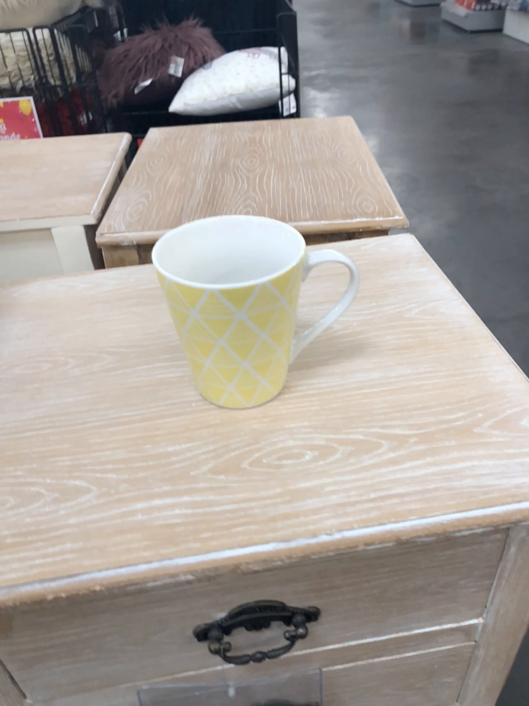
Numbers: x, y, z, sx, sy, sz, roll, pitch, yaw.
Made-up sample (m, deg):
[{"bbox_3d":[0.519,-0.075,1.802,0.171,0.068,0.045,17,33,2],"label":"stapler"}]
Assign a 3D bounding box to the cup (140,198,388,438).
[{"bbox_3d":[-0.005,-0.027,0.363,0.125,0.090,0.103,-10,36,-8],"label":"cup"}]
